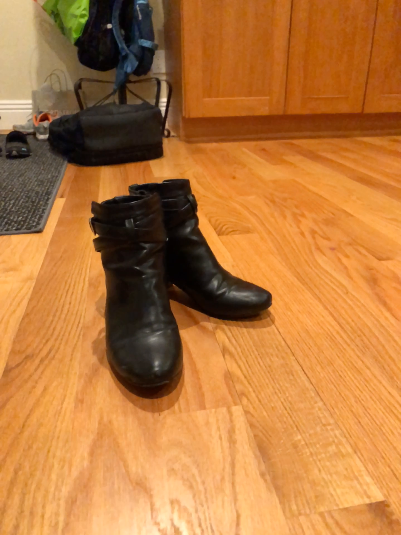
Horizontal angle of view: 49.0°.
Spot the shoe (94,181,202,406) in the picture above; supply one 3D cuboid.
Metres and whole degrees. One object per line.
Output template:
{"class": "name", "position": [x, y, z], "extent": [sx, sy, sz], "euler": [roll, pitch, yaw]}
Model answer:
{"class": "shoe", "position": [-0.069, 0.011, 0.518], "extent": [0.090, 0.172, 0.227], "euler": [-6, 24, -12]}

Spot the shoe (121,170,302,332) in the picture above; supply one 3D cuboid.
{"class": "shoe", "position": [0.013, -0.033, 0.624], "extent": [0.226, 0.172, 0.091], "euler": [12, 26, 26]}
